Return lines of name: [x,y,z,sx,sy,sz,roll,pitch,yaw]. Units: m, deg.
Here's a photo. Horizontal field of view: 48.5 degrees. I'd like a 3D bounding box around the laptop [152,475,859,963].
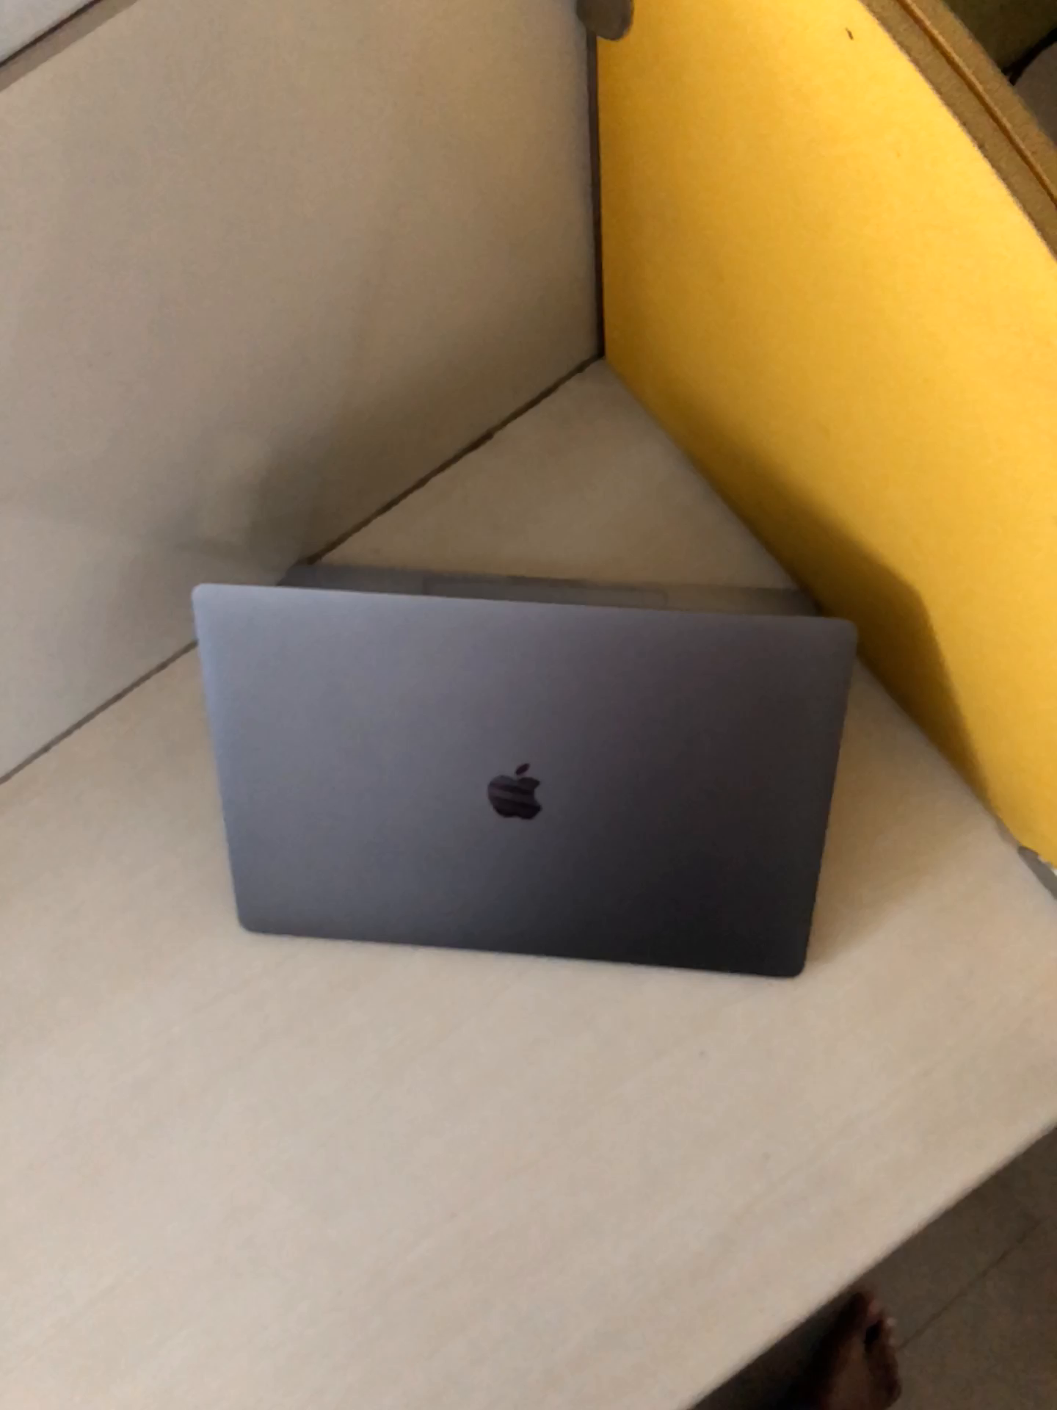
laptop: [-0.004,0.015,0.676,0.344,0.152,0.236,3,79,4]
